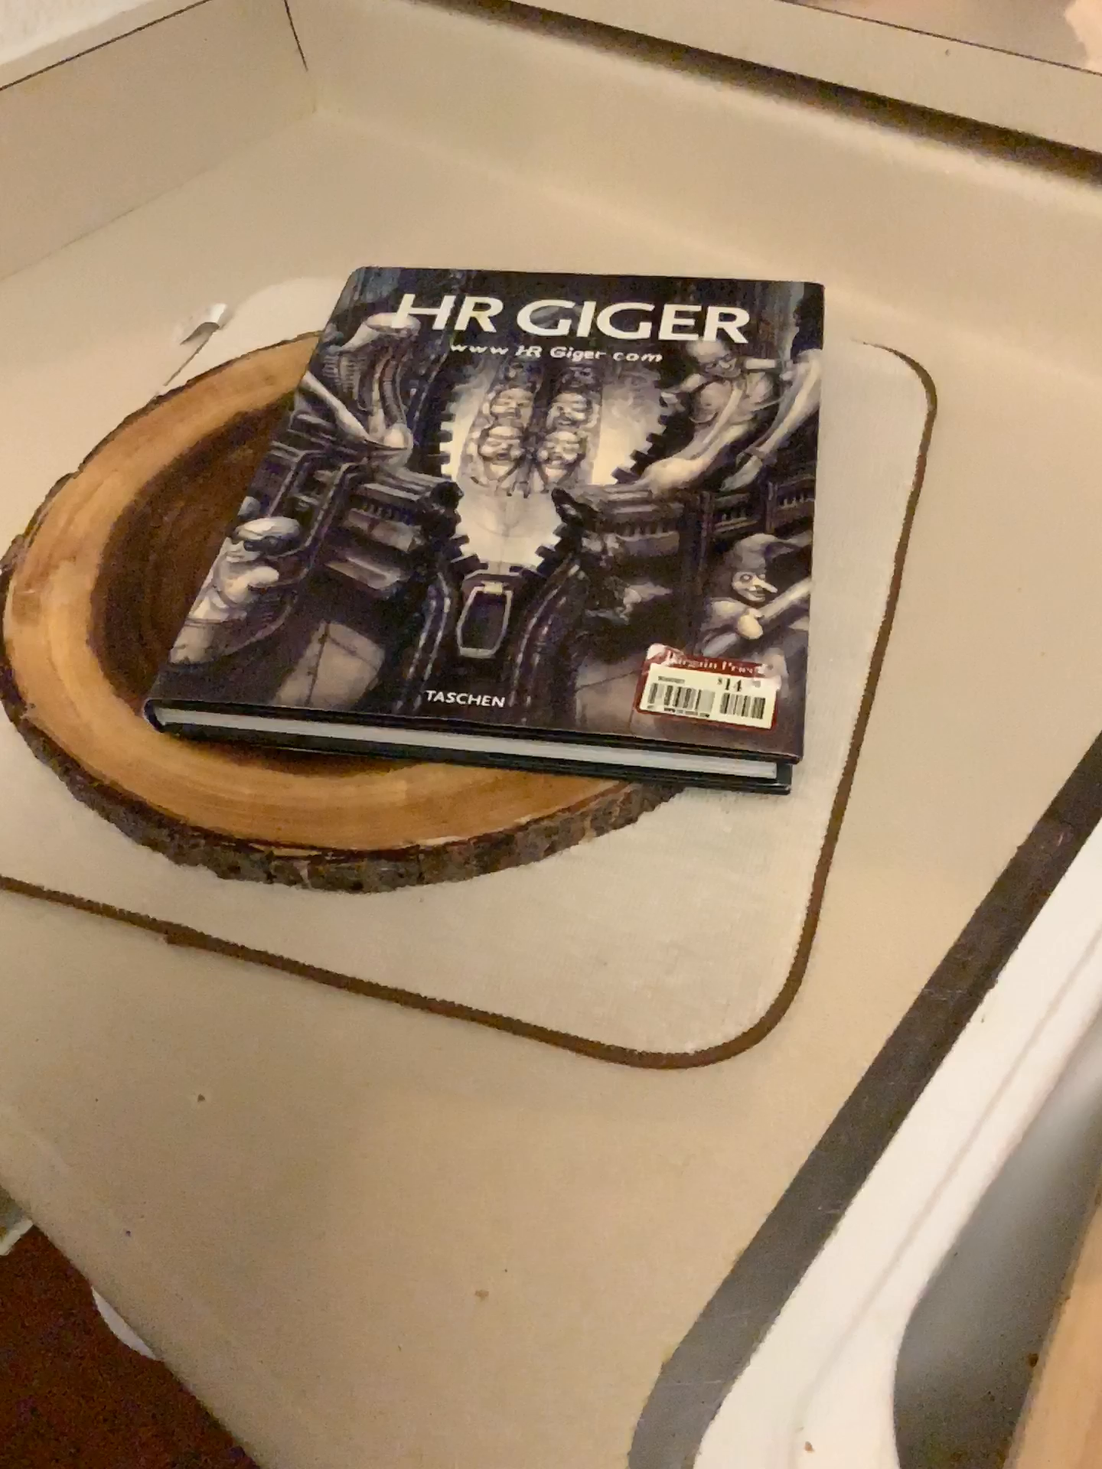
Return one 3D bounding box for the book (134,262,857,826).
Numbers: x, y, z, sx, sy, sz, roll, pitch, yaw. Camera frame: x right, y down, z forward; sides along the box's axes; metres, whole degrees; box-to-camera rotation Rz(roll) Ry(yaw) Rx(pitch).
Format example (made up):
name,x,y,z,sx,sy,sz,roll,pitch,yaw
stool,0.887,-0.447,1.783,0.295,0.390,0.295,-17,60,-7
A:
name,x,y,z,sx,sy,sz,roll,pitch,yaw
book,0.000,-0.113,0.563,0.270,0.030,0.330,5,51,8
